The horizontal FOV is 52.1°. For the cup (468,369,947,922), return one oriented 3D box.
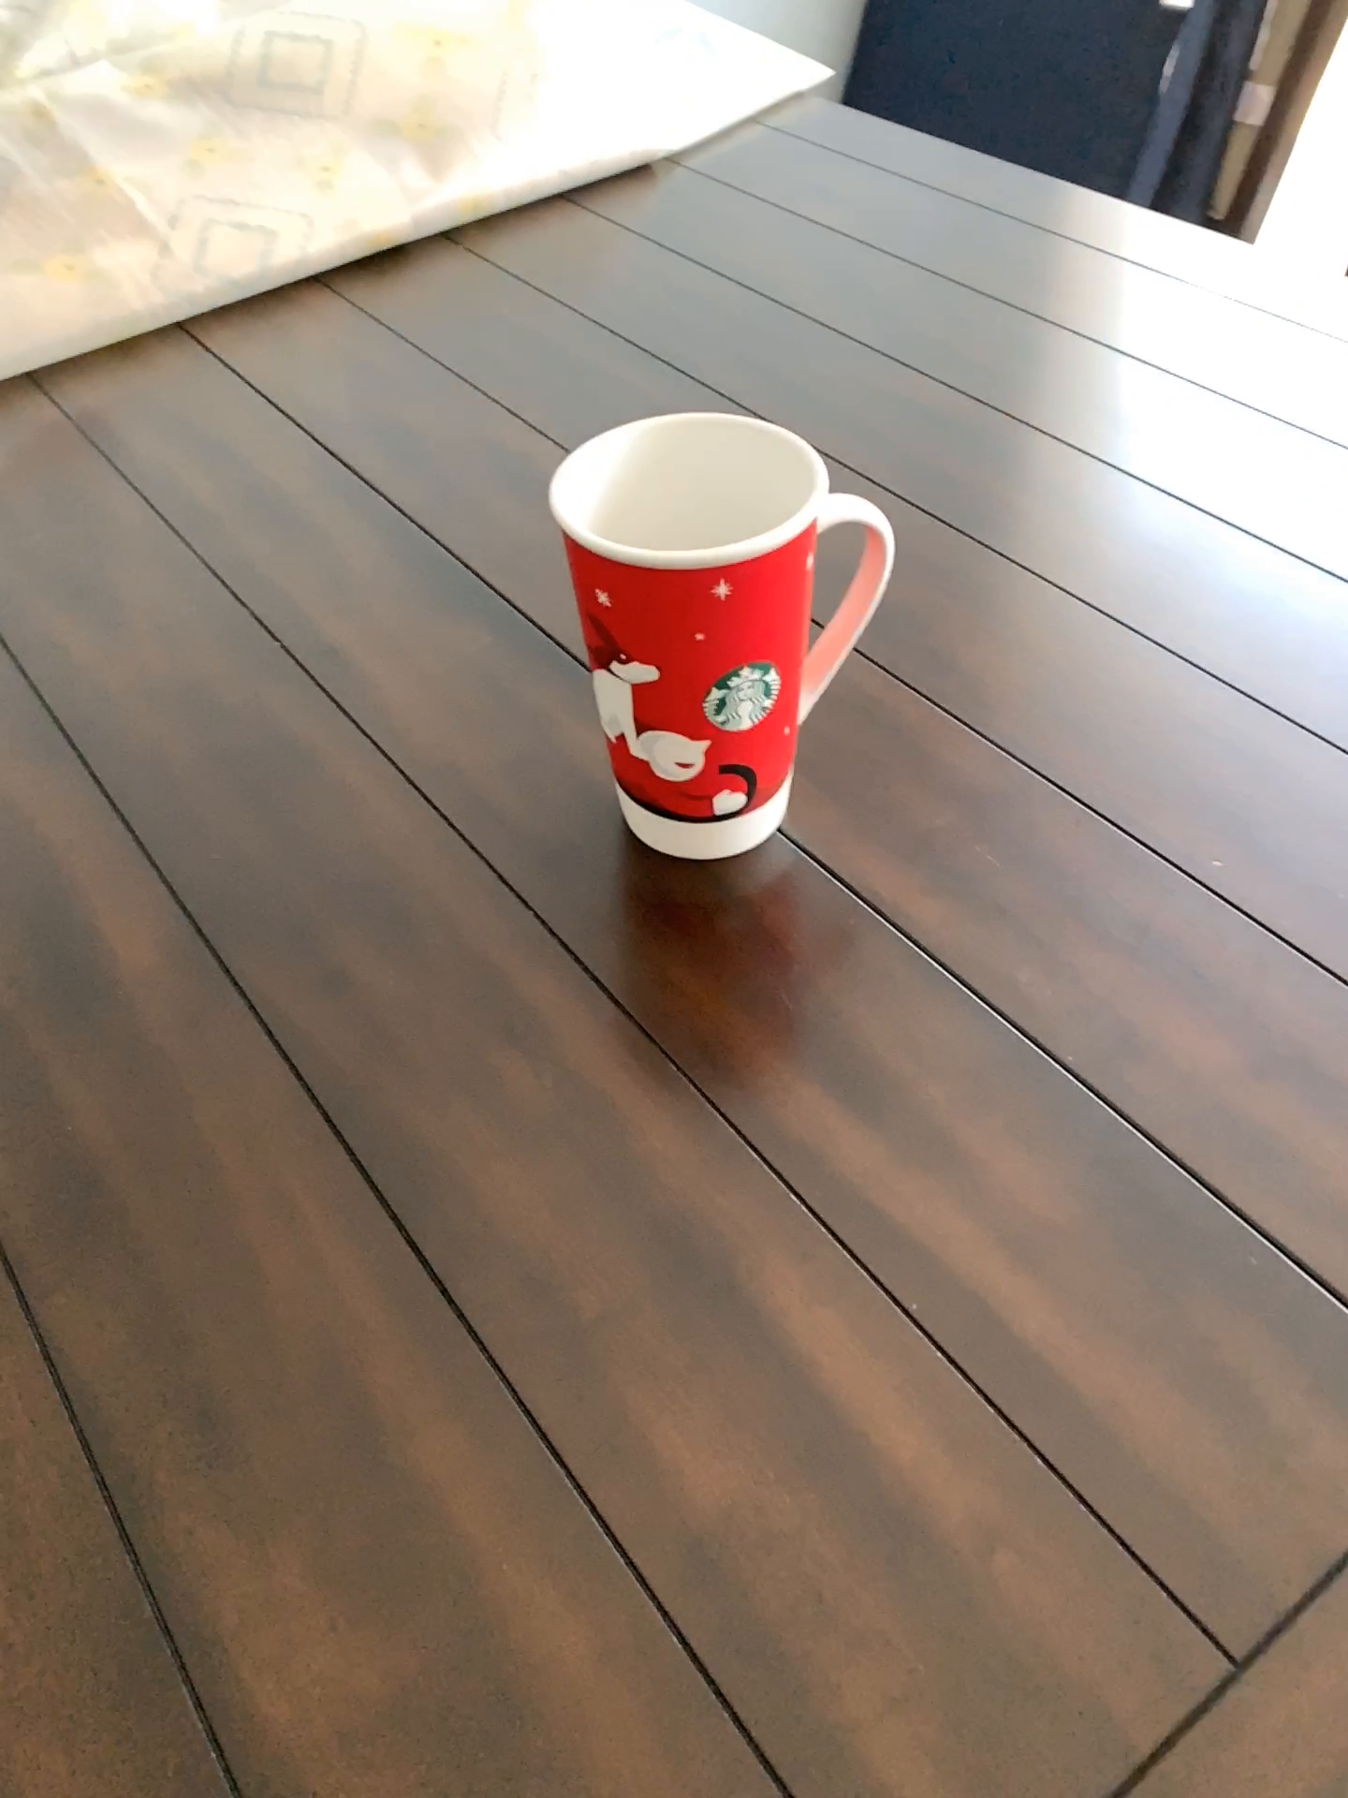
[{"bbox_3d":[0.013,-0.096,0.521,0.130,0.139,0.100,-26,50,-20],"label":"cup"}]
